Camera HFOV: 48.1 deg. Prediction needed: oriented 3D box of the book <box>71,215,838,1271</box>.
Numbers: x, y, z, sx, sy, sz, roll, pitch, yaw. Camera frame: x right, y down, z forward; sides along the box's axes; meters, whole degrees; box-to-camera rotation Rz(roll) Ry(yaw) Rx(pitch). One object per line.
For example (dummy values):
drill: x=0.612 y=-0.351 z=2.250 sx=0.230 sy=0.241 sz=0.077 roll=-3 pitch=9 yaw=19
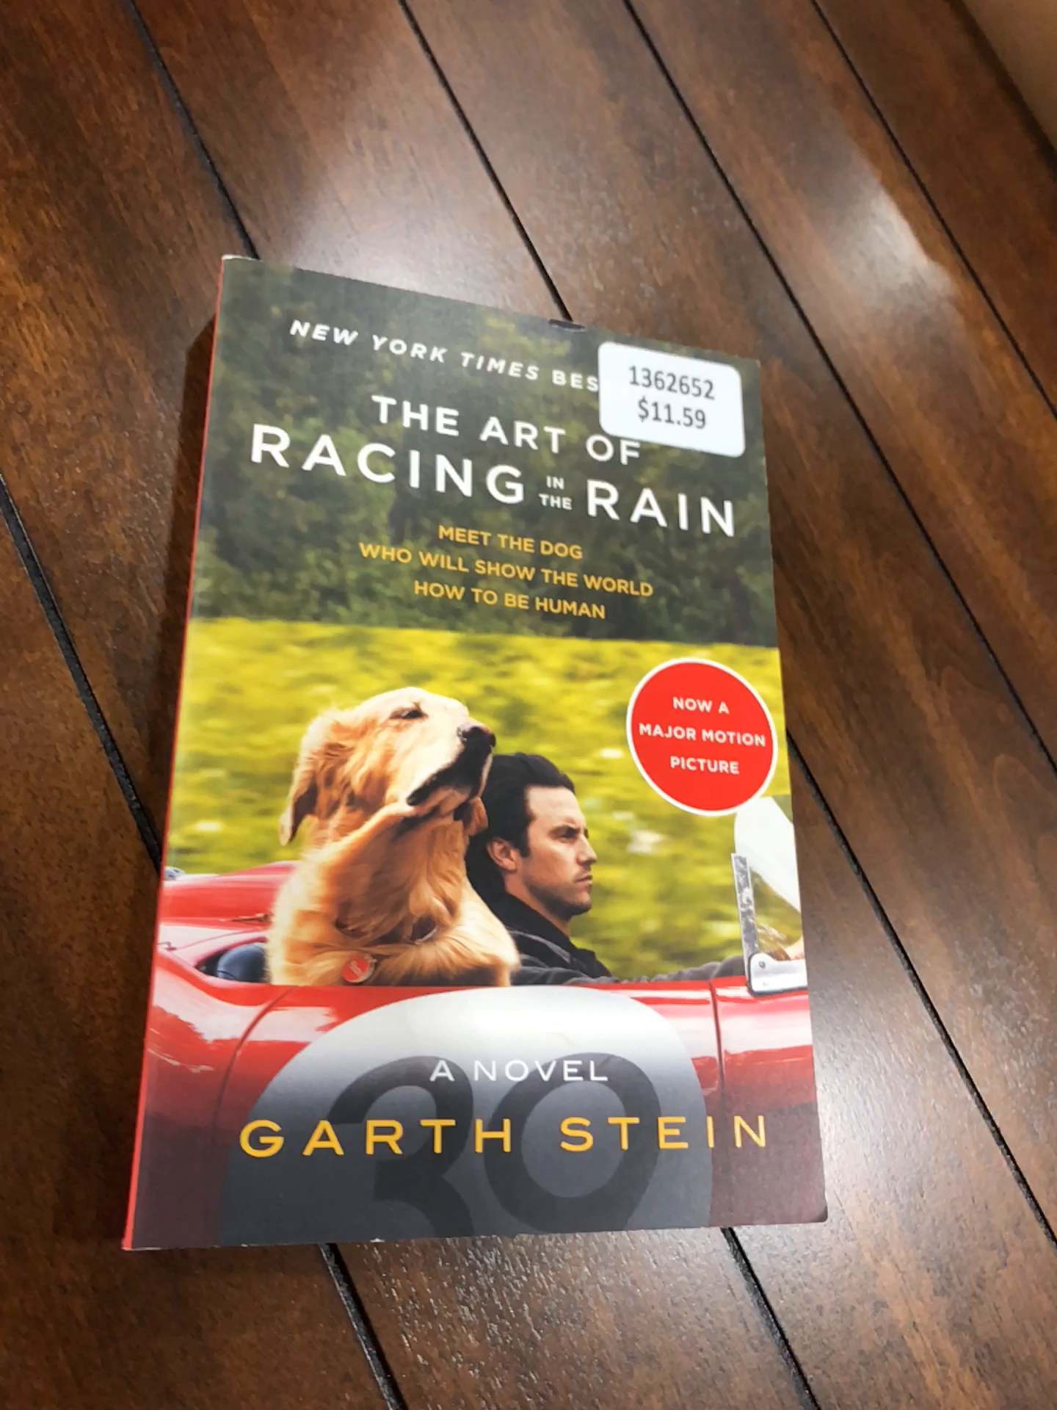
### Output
book: x=-0.011 y=0.003 z=0.258 sx=0.140 sy=0.028 sz=0.210 roll=6 pitch=69 yaw=-17
